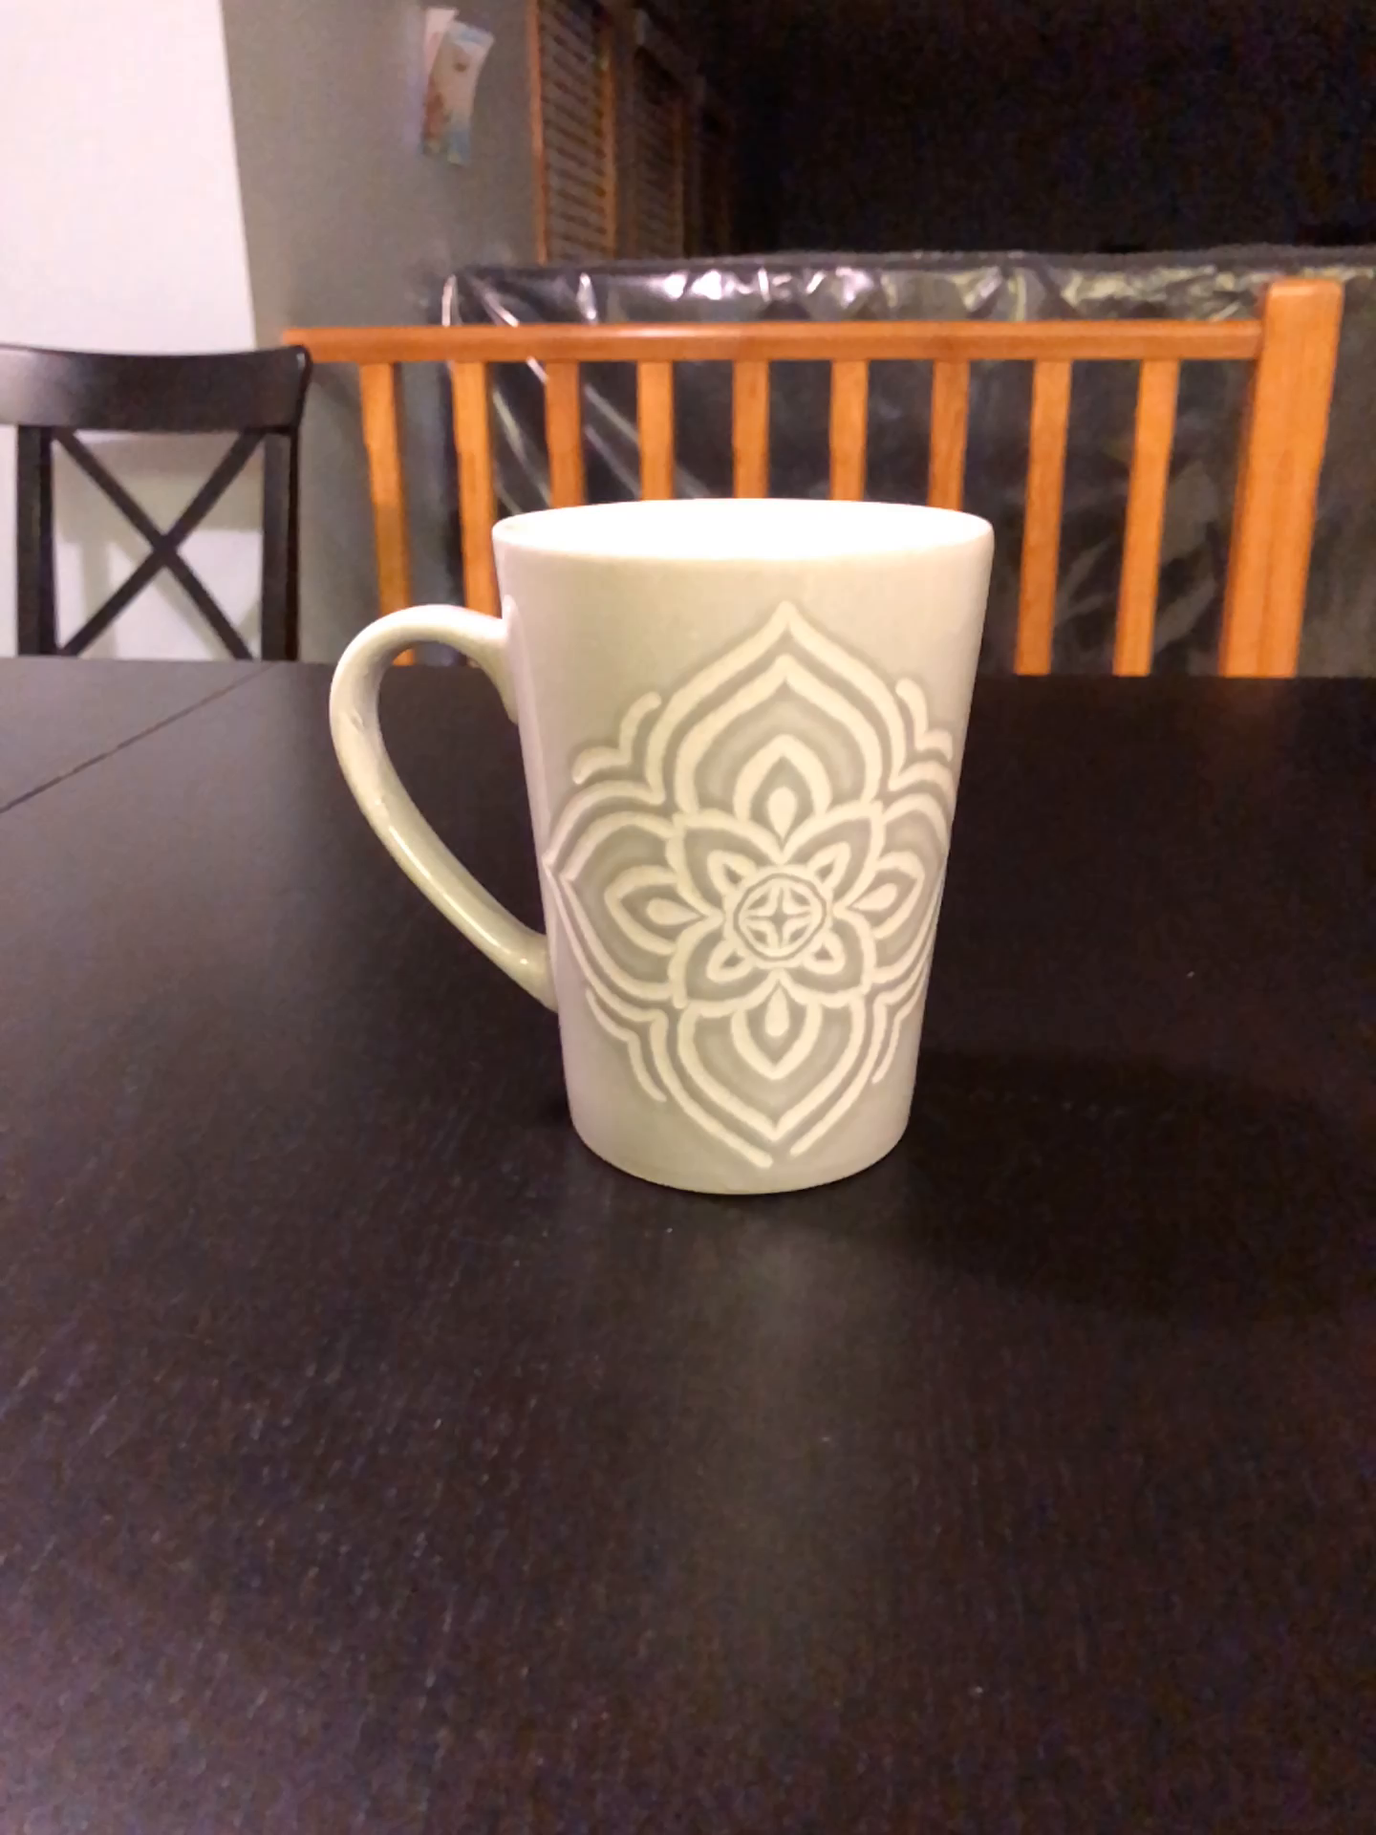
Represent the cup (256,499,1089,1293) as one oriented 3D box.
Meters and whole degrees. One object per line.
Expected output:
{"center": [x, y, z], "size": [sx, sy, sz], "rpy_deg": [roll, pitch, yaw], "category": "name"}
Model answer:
{"center": [0.001, -0.013, 0.306], "size": [0.130, 0.129, 0.100], "rpy_deg": [2, 19, 5], "category": "cup"}
